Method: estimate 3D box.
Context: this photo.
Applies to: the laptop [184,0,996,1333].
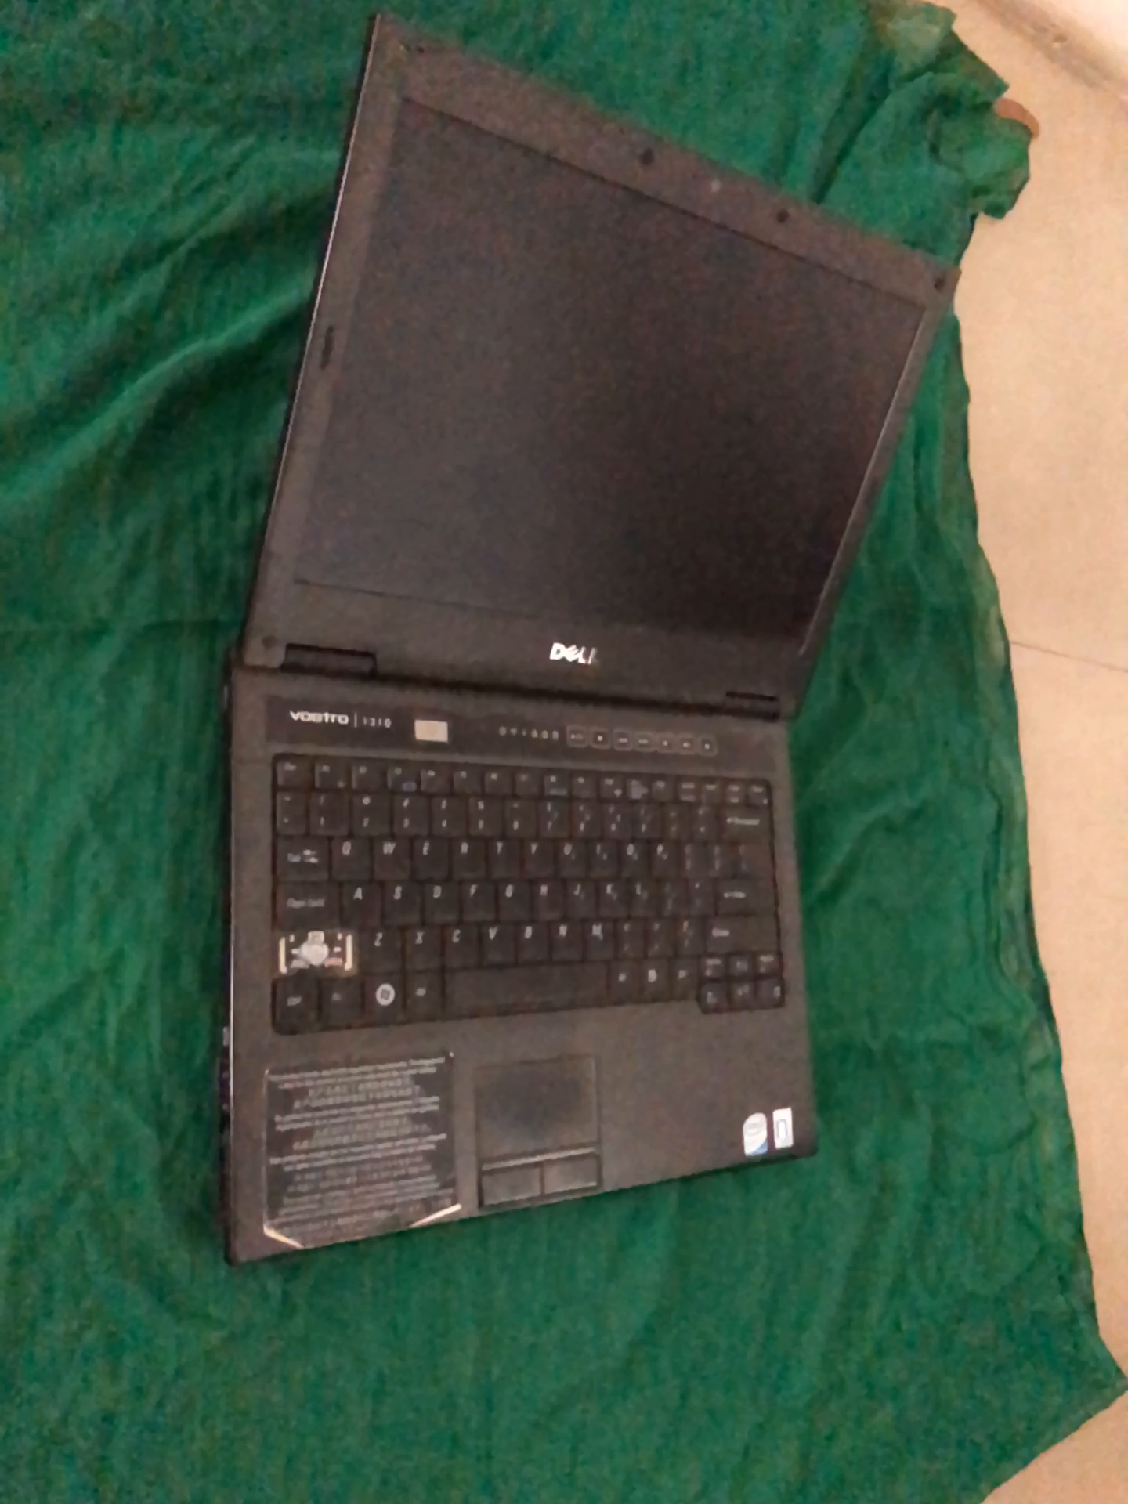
[{"bbox_3d":[0.028,-0.027,0.532,0.314,0.126,0.438,5,83,-34],"label":"laptop"}]
